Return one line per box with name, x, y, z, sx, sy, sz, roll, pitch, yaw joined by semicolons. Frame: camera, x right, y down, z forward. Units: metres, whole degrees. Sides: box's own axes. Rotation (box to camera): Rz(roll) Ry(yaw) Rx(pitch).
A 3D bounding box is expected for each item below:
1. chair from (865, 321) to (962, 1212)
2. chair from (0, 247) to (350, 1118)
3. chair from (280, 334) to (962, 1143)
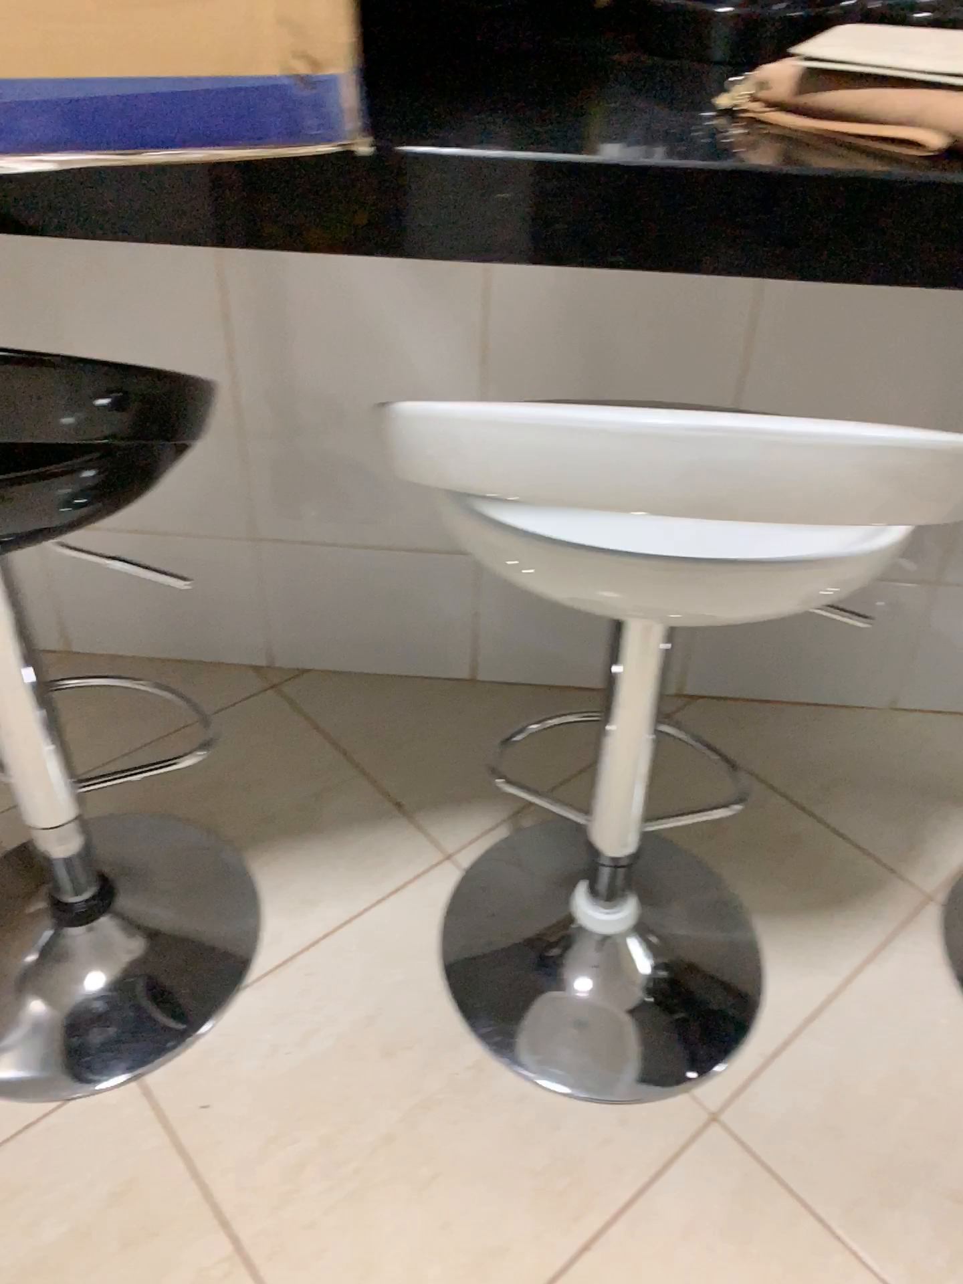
chair;0.760;0.118;0.950;0.520;0.664;0.444;7;37;6
chair;-0.482;0.049;1.070;0.570;0.753;0.515;3;37;1
chair;0.130;0.101;0.954;0.510;0.634;0.414;3;37;1
